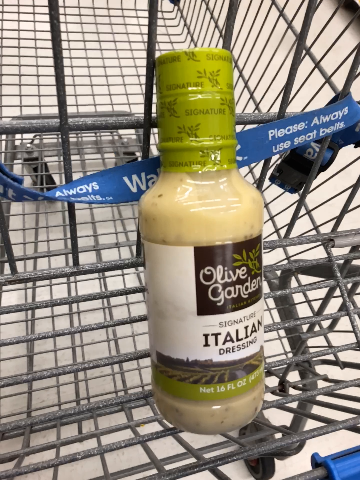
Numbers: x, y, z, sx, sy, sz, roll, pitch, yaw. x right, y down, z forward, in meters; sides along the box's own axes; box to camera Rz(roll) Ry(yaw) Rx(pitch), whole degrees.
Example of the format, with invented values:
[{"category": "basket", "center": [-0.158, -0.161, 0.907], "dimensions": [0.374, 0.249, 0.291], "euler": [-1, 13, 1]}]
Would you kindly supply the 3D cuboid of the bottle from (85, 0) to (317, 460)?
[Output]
[{"category": "bottle", "center": [0.013, -0.007, 0.227], "dimensions": [0.080, 0.070, 0.210], "euler": [-12, 97, -32]}]
